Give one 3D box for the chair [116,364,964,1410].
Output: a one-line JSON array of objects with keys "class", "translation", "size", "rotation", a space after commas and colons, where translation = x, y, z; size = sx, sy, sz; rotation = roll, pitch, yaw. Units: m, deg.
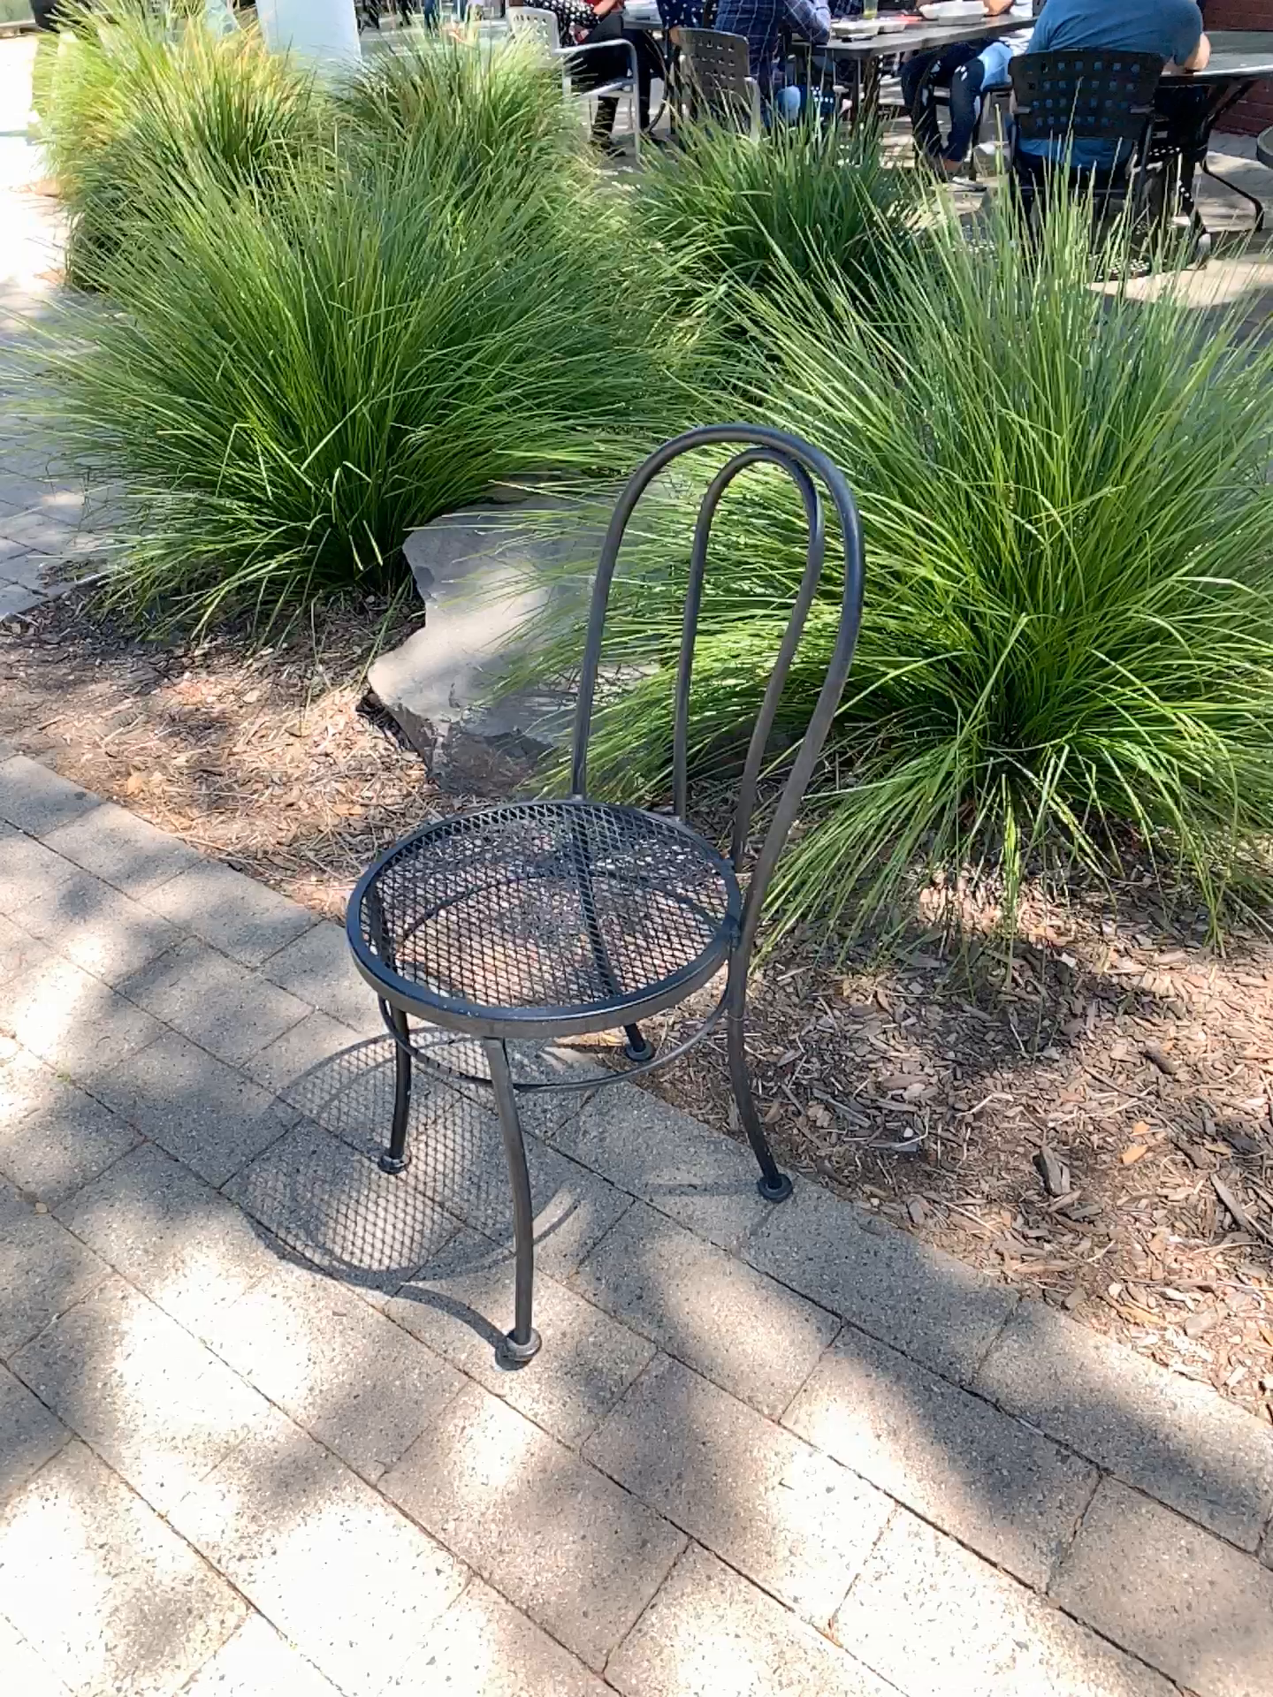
[{"class": "chair", "translation": [-0.078, 0.018, 1.328], "size": [0.537, 0.788, 0.473], "rotation": [-25, 41, -27]}]
